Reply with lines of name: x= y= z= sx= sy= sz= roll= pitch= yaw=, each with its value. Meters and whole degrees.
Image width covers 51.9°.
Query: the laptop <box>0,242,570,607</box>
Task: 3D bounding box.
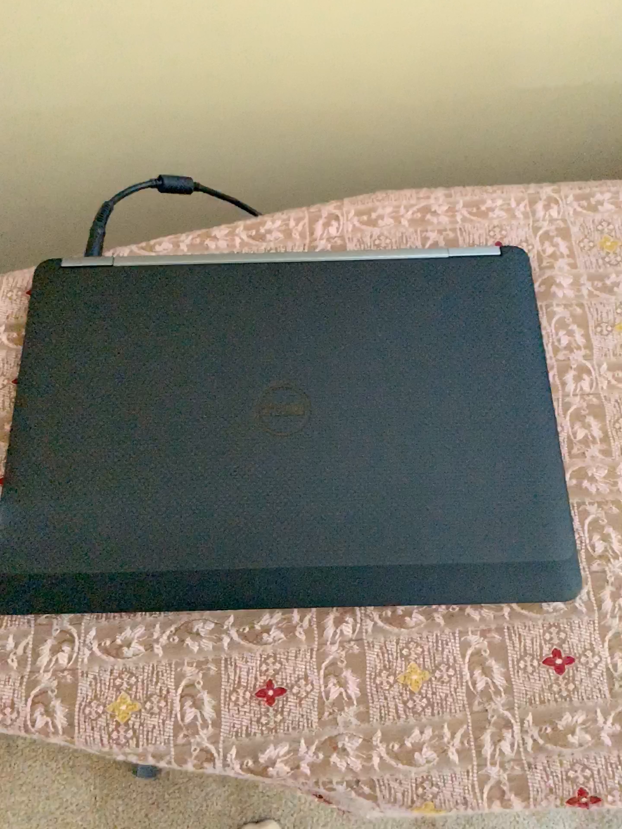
laptop: x=-0.022 y=0.003 z=0.358 sx=0.294 sy=0.017 sz=0.197 roll=-2 pitch=72 yaw=5
